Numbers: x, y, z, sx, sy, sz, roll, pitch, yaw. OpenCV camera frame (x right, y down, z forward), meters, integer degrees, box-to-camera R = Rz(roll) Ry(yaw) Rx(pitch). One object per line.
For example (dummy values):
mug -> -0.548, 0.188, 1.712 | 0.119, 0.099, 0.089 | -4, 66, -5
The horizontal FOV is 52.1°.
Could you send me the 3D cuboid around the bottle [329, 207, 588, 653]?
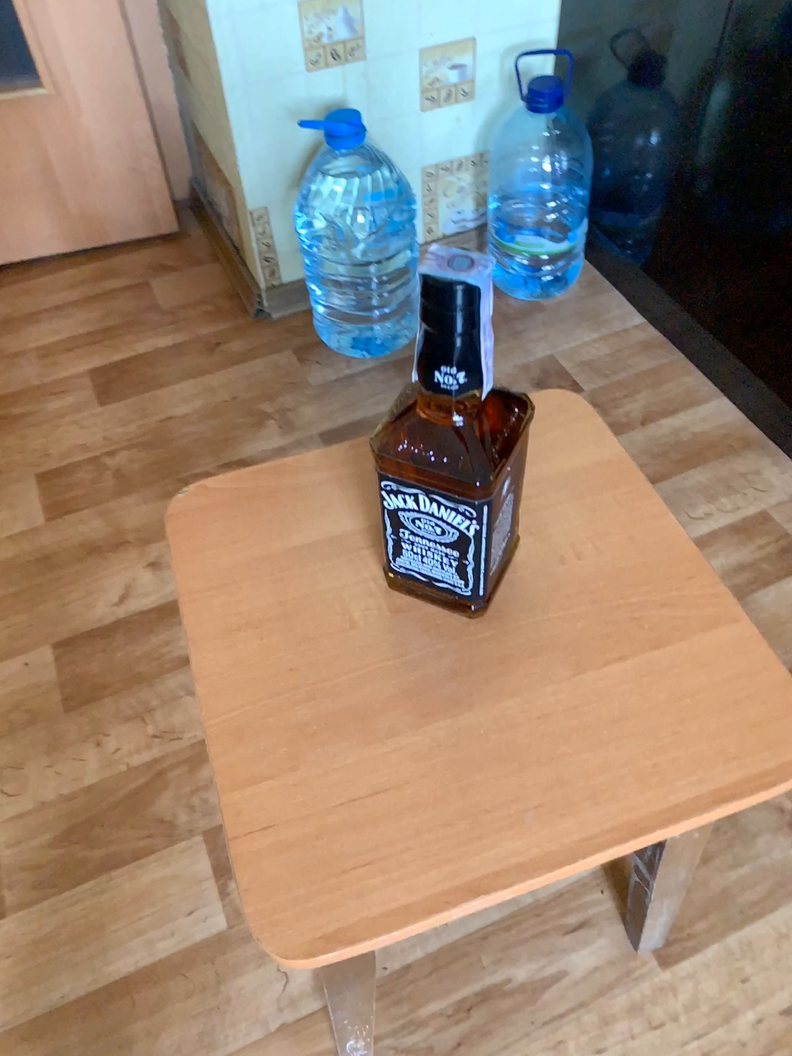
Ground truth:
bottle -> 0.031, -0.036, 0.408 | 0.080, 0.209, 0.080 | -1, 51, 2
